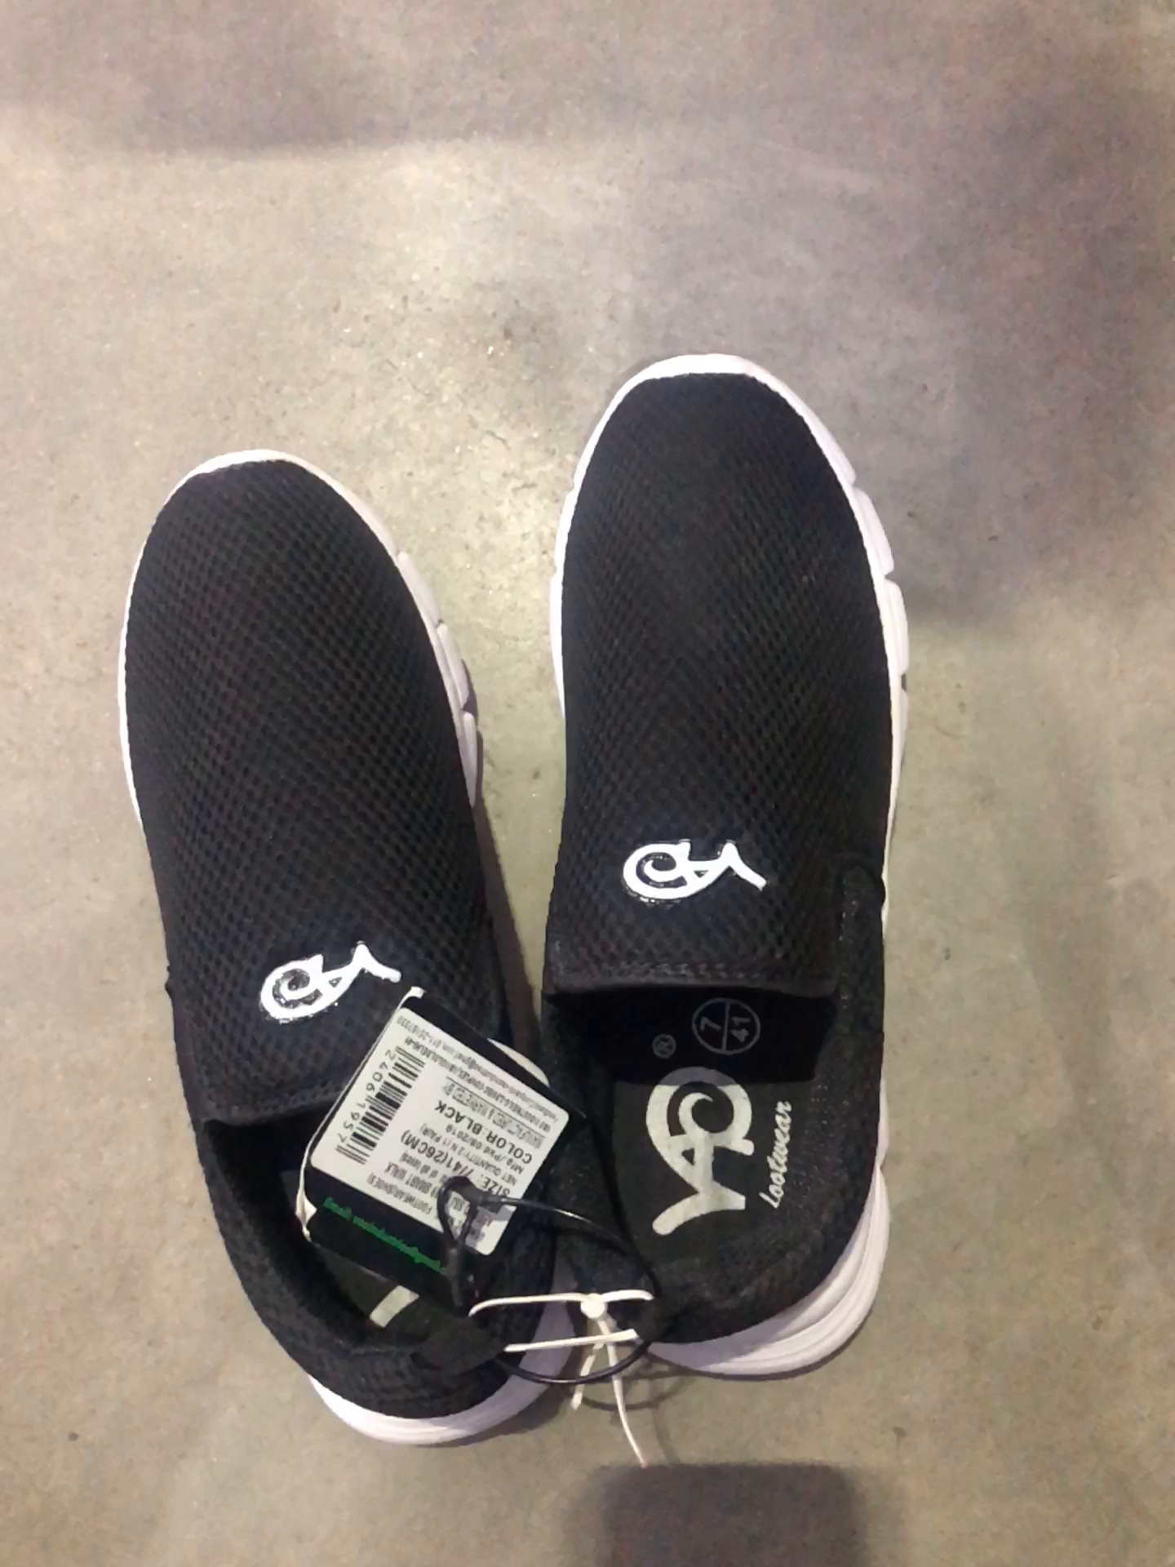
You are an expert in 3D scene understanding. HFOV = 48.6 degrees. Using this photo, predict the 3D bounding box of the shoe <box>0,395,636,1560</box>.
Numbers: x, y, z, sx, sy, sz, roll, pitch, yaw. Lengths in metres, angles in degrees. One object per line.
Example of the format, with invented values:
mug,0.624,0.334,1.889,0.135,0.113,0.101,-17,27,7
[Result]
shoe,-0.076,0.045,0.366,0.110,0.100,0.260,-16,81,0

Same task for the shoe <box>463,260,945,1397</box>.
shoe,0.034,0.011,0.366,0.110,0.100,0.270,-2,81,11
